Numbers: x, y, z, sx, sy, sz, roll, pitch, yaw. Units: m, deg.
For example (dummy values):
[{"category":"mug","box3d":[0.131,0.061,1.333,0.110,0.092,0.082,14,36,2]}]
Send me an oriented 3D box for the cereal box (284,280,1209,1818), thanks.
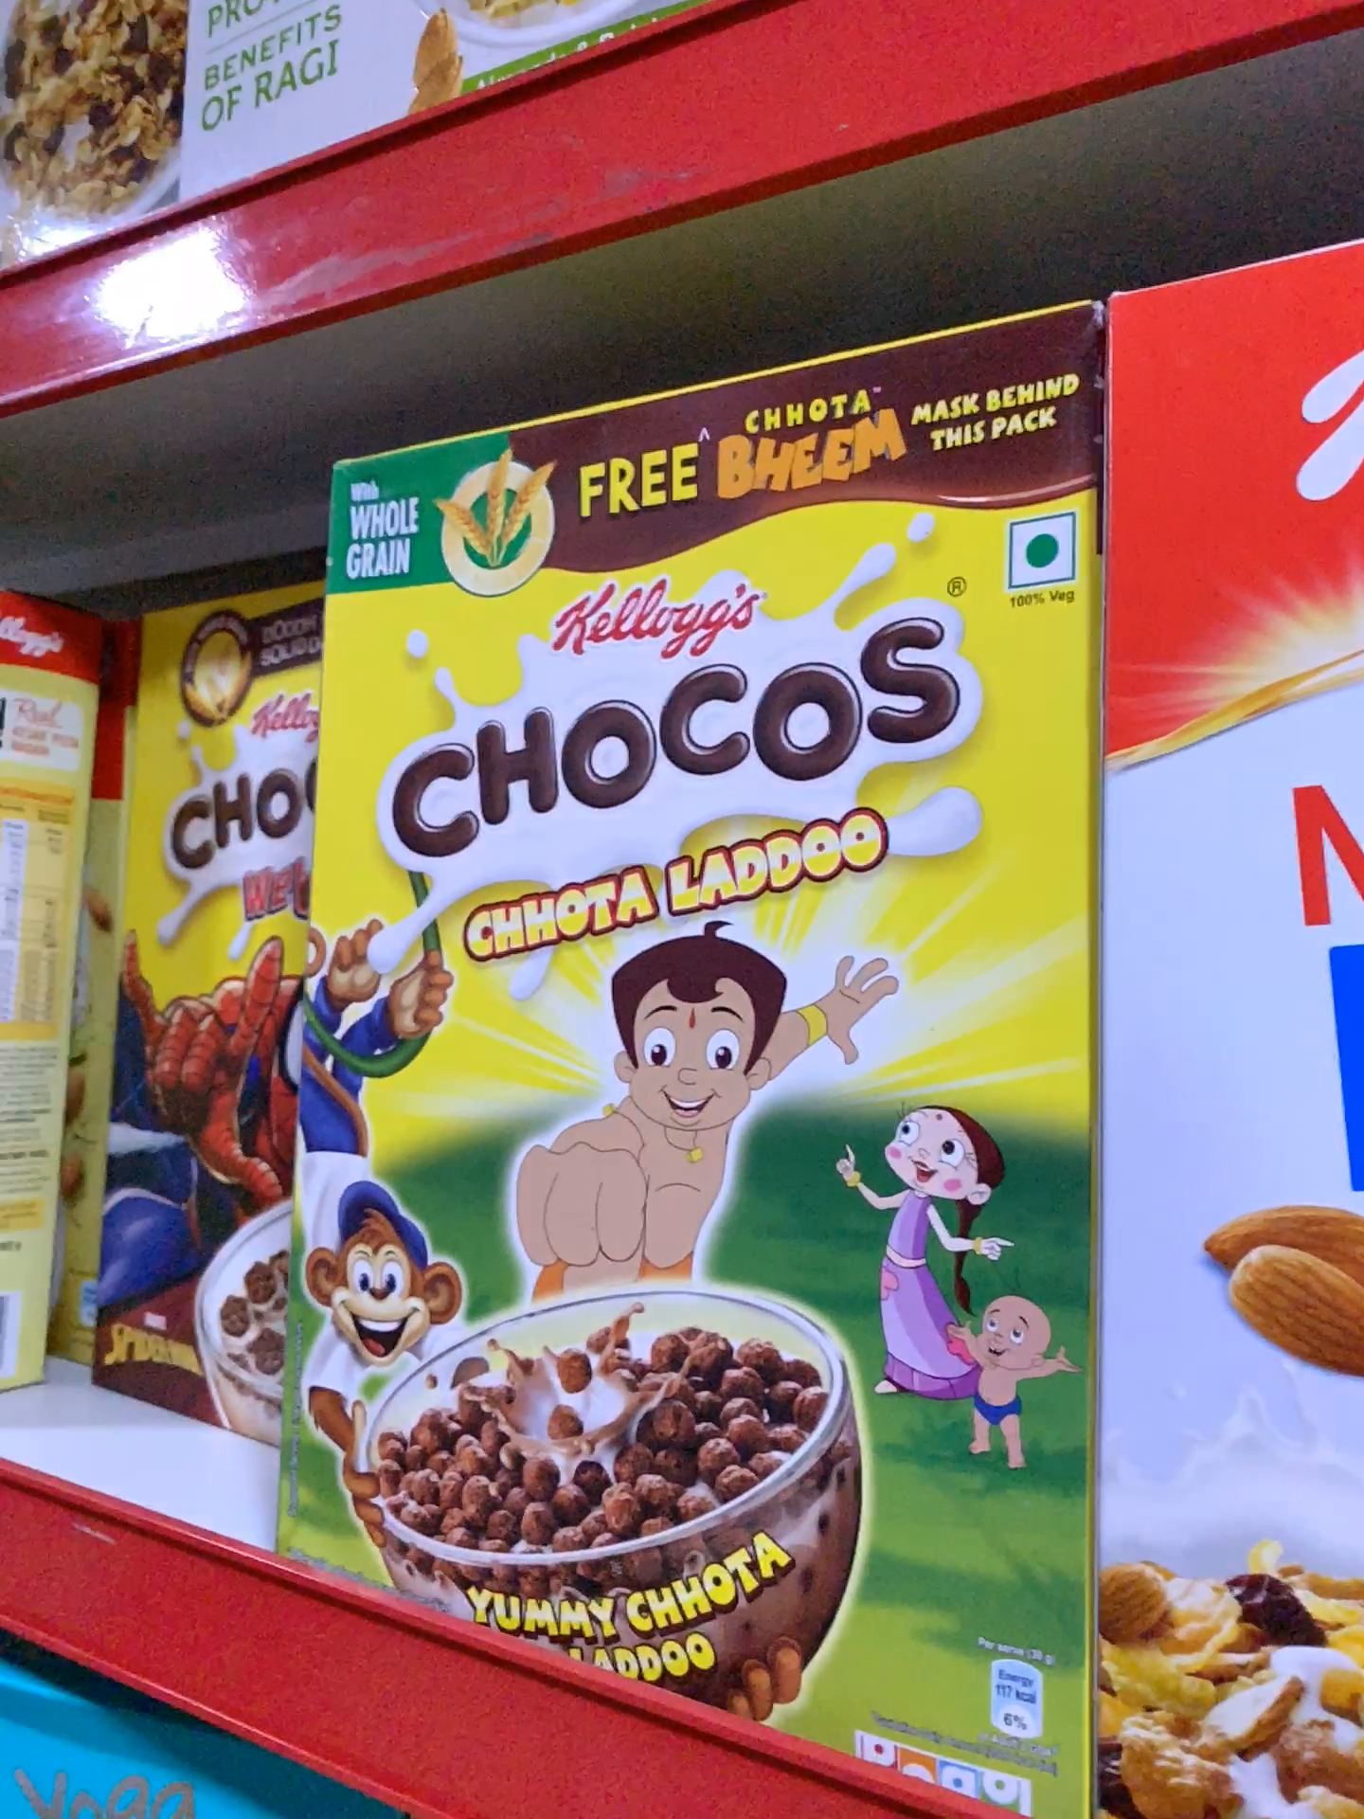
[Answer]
[{"category":"cereal box","box3d":[0.011,0.026,0.307,0.180,0.260,0.070,0,-4,32]}]
